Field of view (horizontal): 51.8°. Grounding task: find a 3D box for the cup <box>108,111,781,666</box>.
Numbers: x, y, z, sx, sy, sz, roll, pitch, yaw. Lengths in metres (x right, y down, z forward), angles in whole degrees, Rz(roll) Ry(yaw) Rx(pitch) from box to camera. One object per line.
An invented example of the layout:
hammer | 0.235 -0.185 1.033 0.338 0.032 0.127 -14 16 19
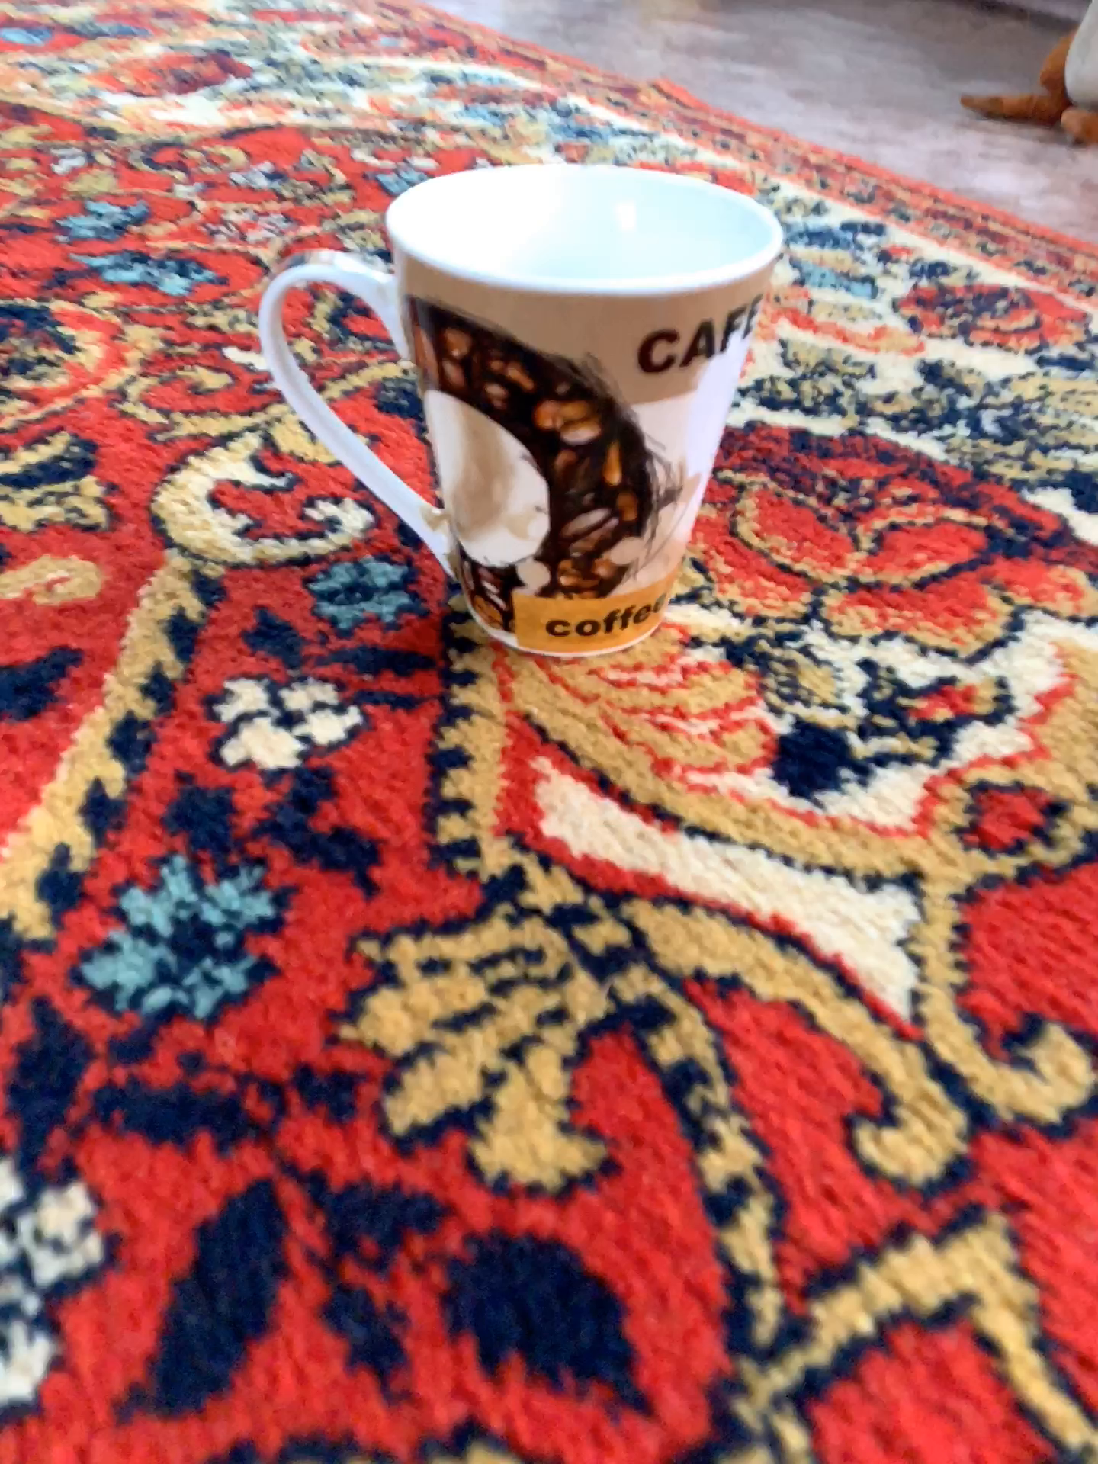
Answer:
cup | -0.016 -0.075 0.240 0.110 0.079 0.081 6 38 2
